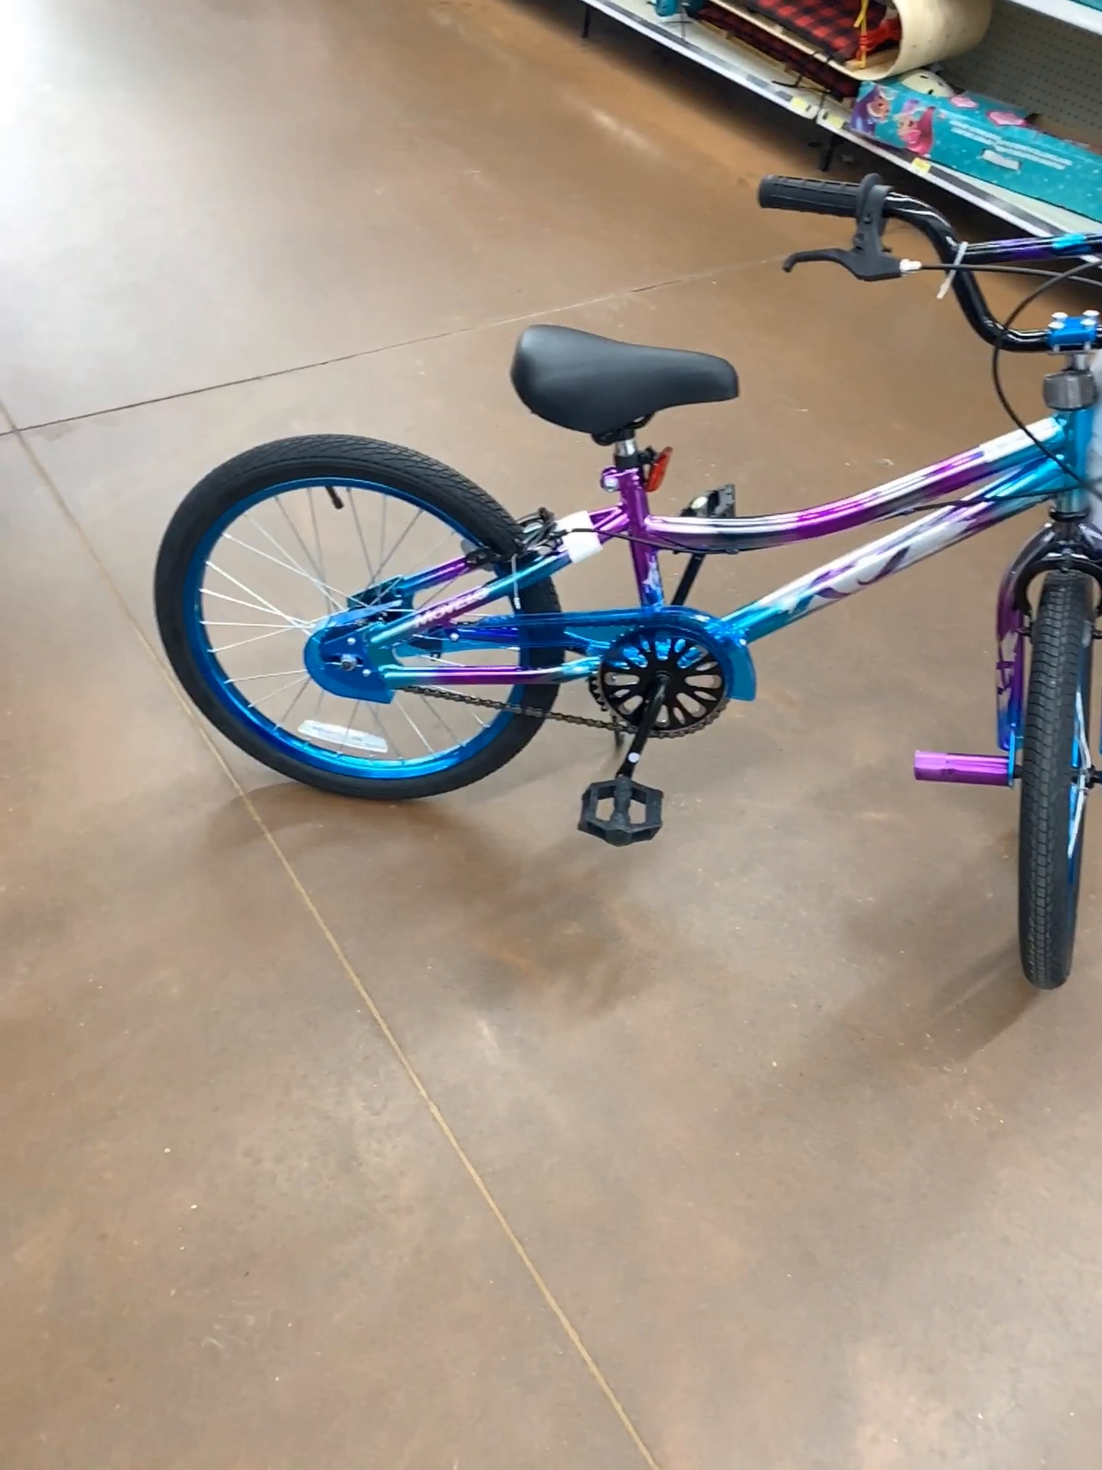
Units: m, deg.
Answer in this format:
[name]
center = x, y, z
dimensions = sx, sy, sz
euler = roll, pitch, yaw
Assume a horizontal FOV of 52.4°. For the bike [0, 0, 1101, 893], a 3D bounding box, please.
[bike]
center = 0.150, -0.339, 1.257
dimensions = 1.119, 0.876, 0.623
euler = 3, 46, -6
